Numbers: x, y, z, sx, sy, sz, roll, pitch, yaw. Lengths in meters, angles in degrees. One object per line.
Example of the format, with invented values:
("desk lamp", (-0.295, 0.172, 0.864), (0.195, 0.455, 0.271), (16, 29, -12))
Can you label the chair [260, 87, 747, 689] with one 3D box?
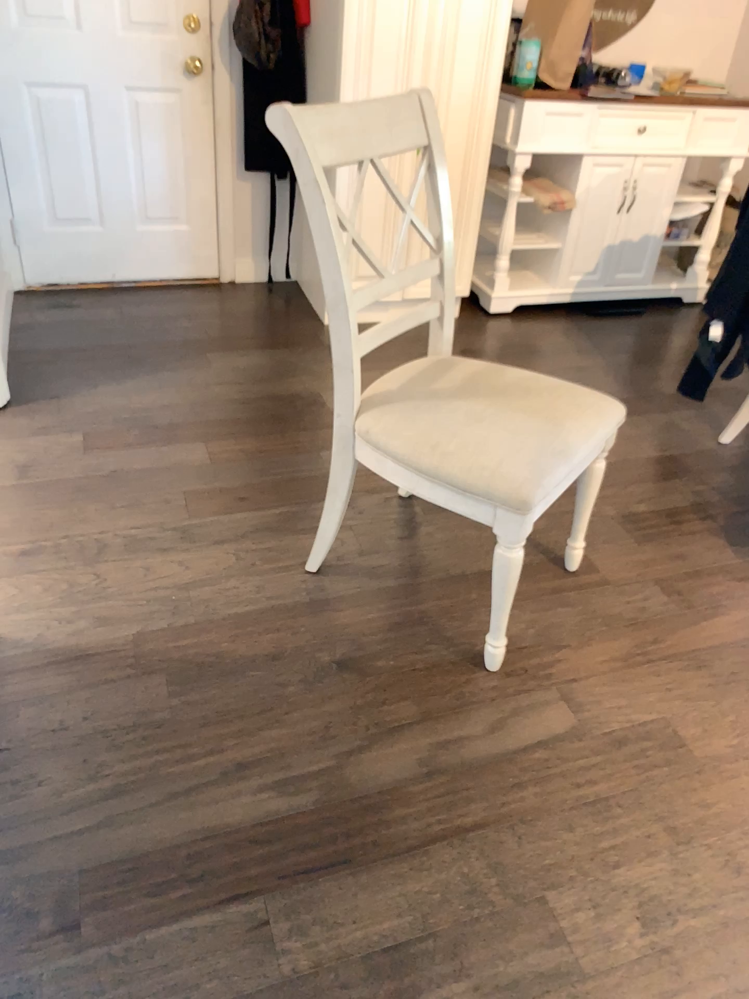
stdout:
("chair", (0.194, -0.255, 1.548), (0.651, 0.925, 0.532), (25, 38, 27))
